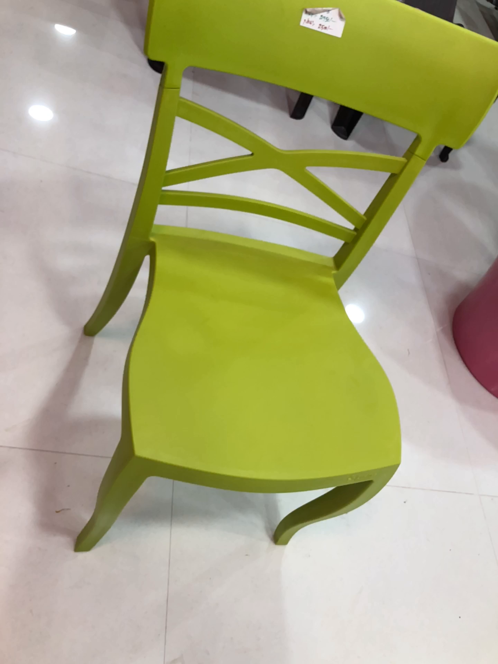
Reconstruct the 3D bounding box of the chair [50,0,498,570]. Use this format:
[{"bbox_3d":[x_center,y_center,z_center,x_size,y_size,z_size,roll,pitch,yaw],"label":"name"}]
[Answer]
[{"bbox_3d":[0.028,-0.054,0.838,0.501,0.805,0.613,8,55,-21],"label":"chair"}]
